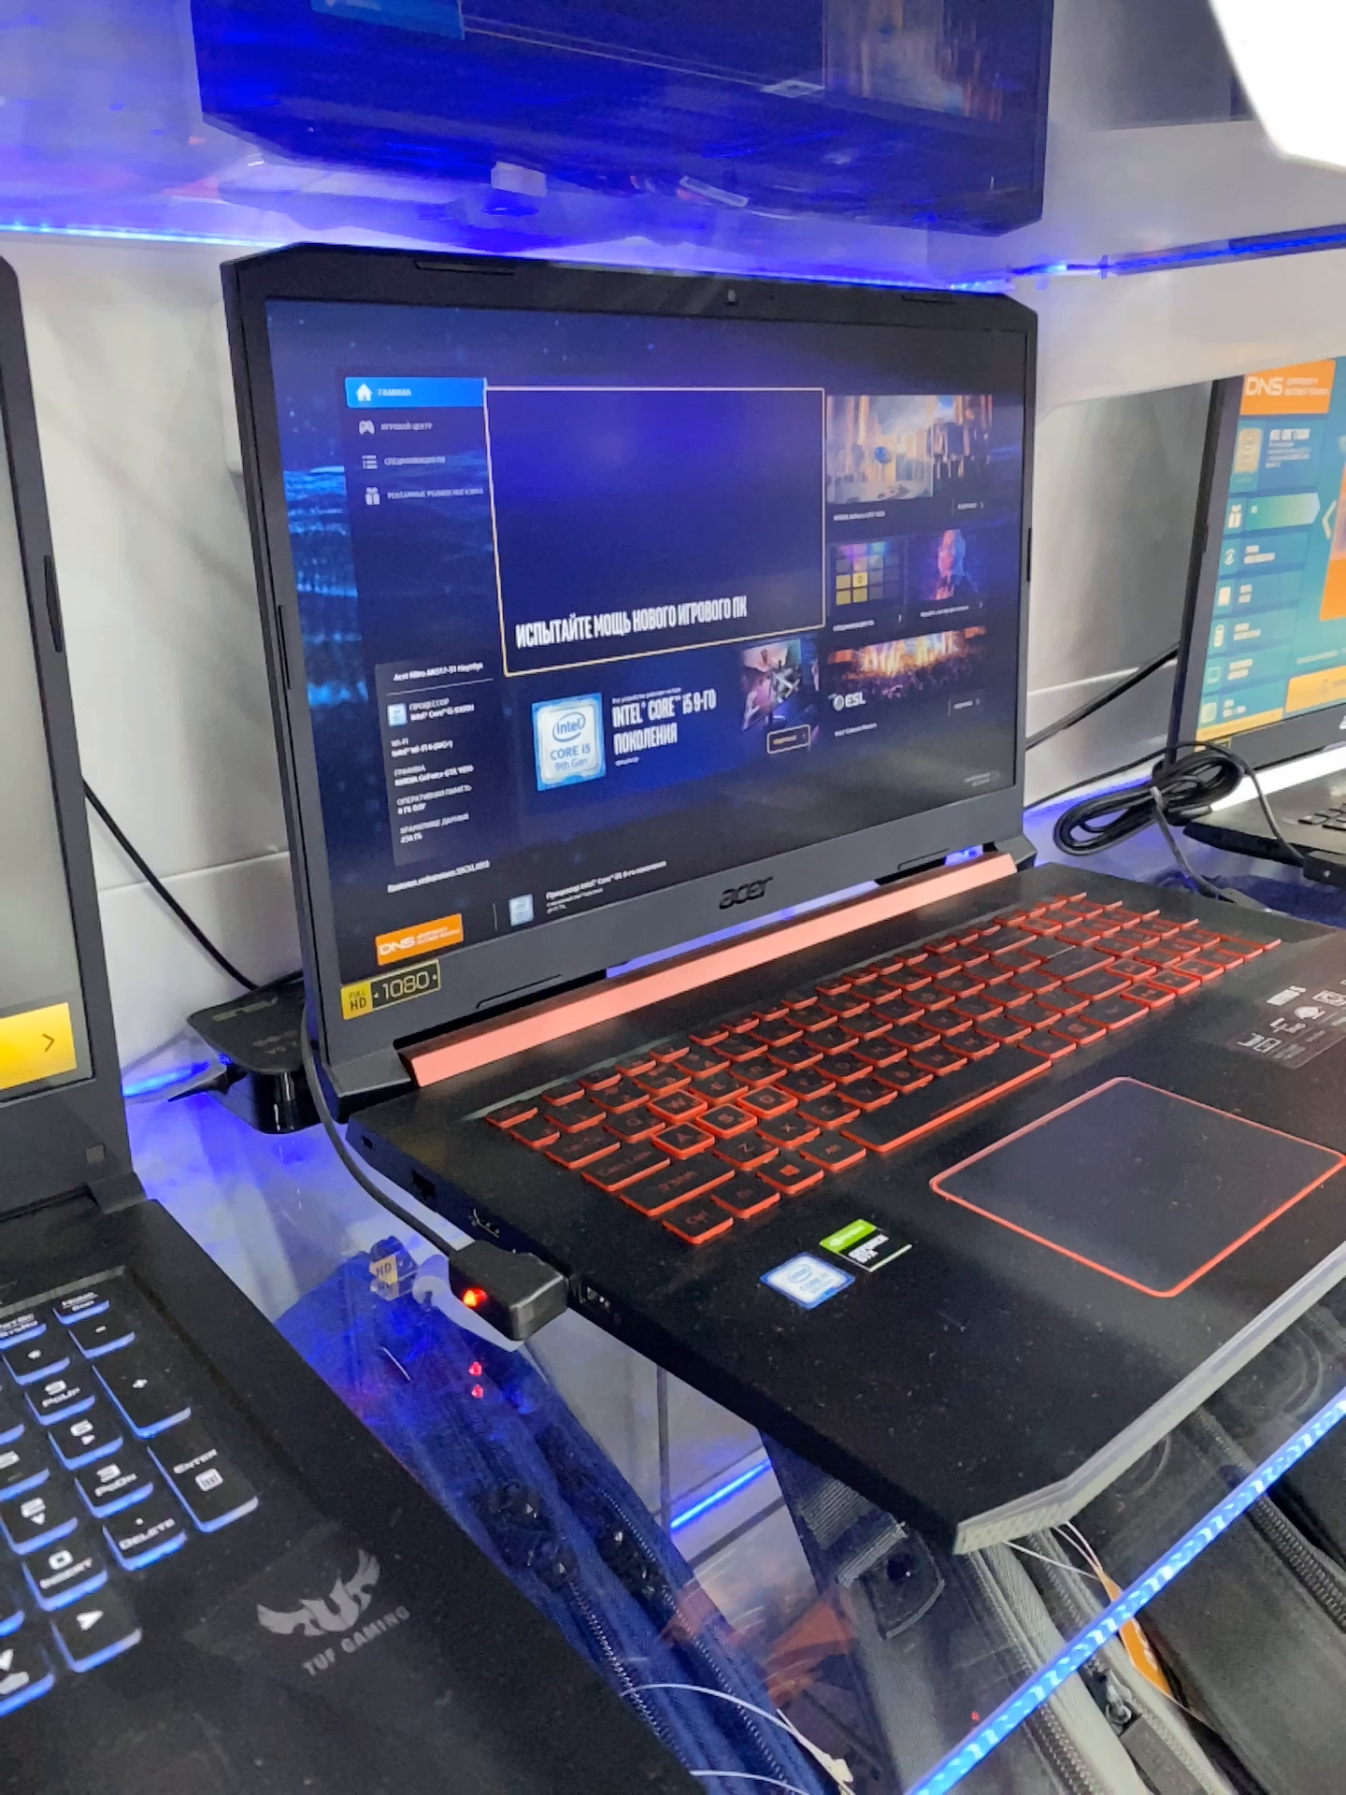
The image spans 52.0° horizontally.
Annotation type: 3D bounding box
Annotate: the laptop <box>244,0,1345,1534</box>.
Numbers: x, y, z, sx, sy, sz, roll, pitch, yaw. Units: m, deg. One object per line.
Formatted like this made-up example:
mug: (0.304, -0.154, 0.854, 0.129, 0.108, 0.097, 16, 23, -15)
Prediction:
laptop: (0.119, -0.075, 0.466, 0.406, 0.268, 0.284, -16, 22, -39)
